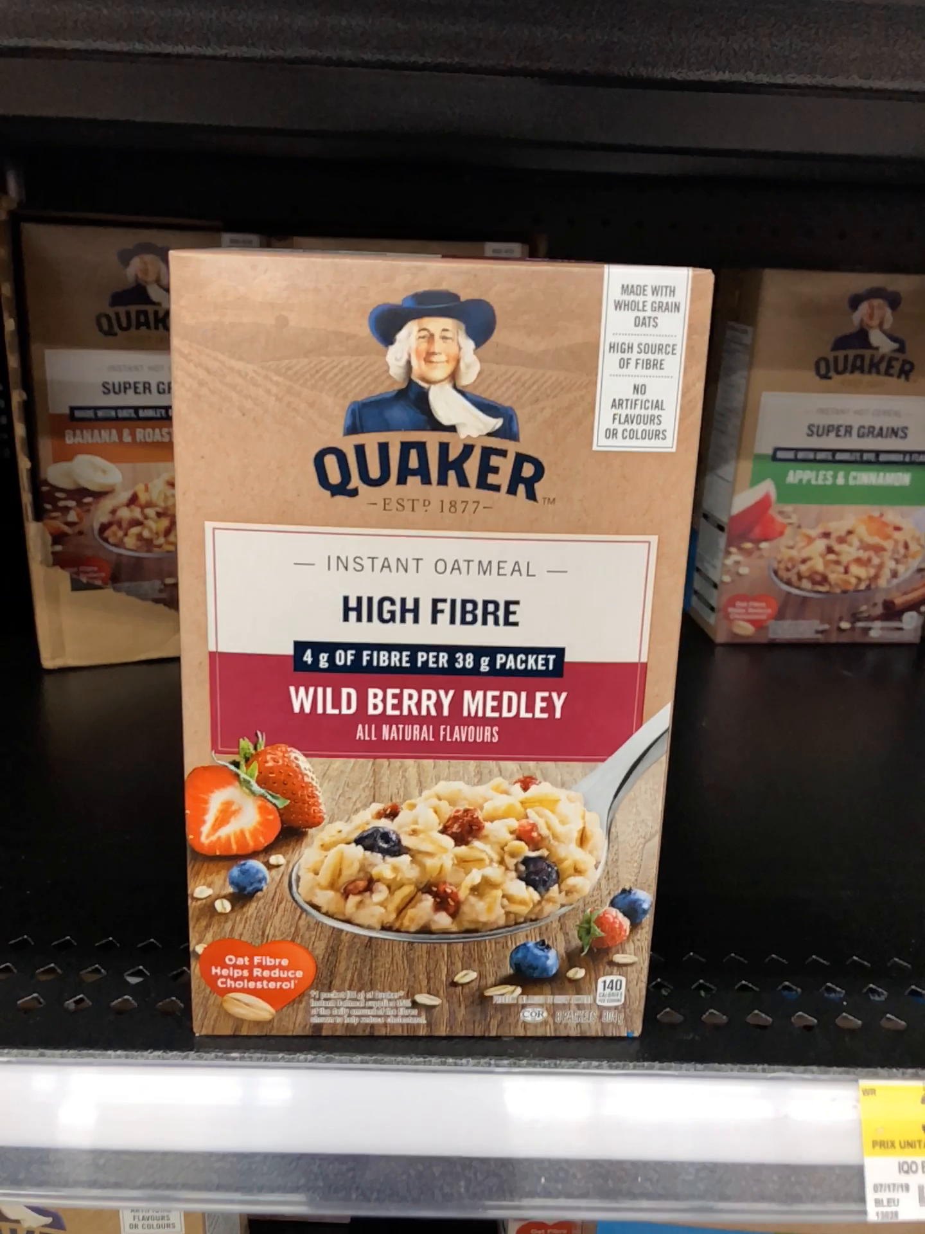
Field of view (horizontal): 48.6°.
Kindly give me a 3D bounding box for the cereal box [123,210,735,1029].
[{"bbox_3d":[-0.011,0.004,0.273,0.130,0.199,0.060,1,15,-2],"label":"cereal box"}]
